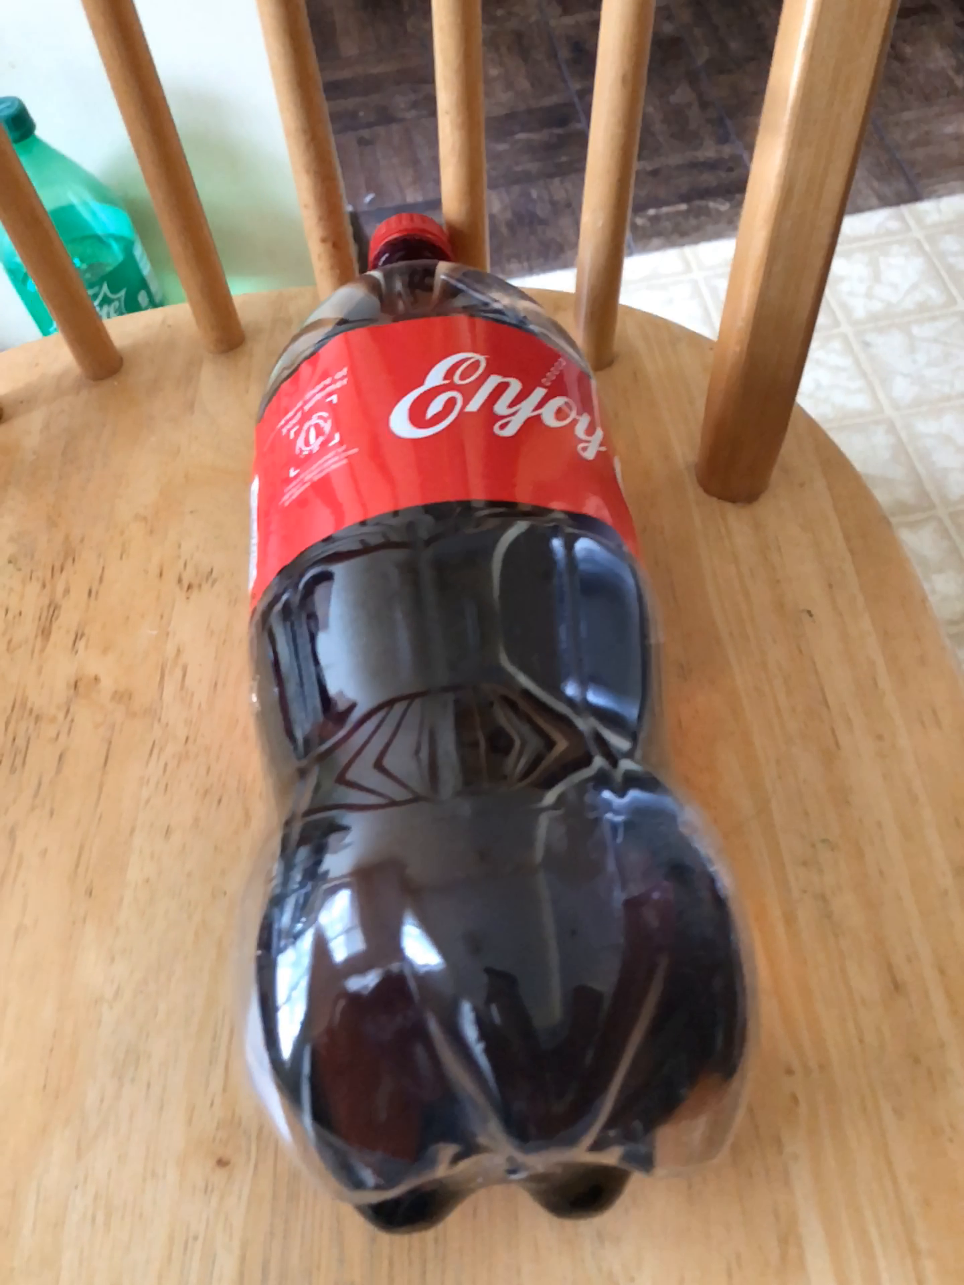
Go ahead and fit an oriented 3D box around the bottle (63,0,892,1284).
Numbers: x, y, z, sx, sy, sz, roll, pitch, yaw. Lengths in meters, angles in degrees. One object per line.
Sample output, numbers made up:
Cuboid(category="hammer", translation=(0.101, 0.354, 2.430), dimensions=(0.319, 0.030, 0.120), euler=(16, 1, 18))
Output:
Cuboid(category="bottle", translation=(-0.012, -0.021, 0.286), dimensions=(0.100, 0.120, 0.320), euler=(-30, 51, 30))
